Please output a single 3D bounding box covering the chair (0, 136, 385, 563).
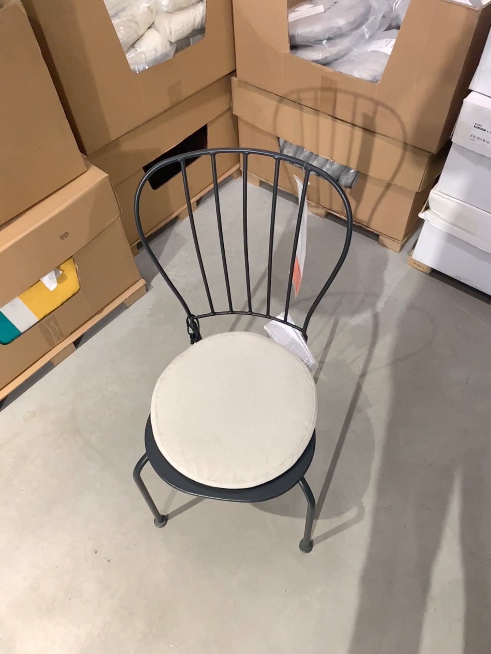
[{"bbox_3d":[-0.025,0.118,1.094,0.480,0.818,0.521,8,56,8],"label":"chair"}]
